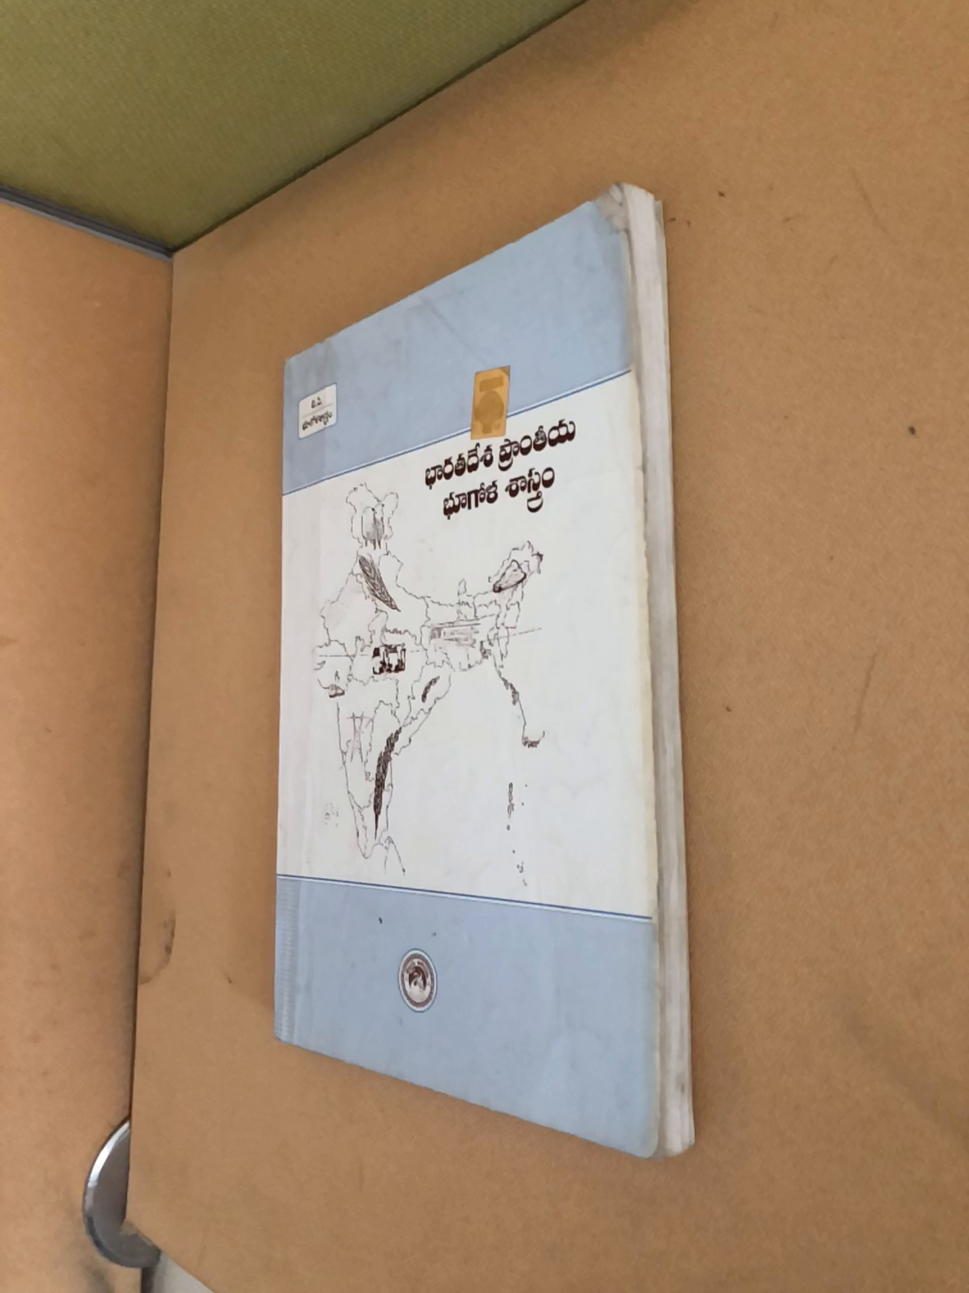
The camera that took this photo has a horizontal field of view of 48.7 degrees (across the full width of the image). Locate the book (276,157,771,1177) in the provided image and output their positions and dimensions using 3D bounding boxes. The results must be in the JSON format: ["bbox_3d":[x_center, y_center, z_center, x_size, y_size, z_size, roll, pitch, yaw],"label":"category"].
[{"bbox_3d":[-0.002,0.007,0.338,0.181,0.030,0.250,-8,80,47],"label":"book"}]
